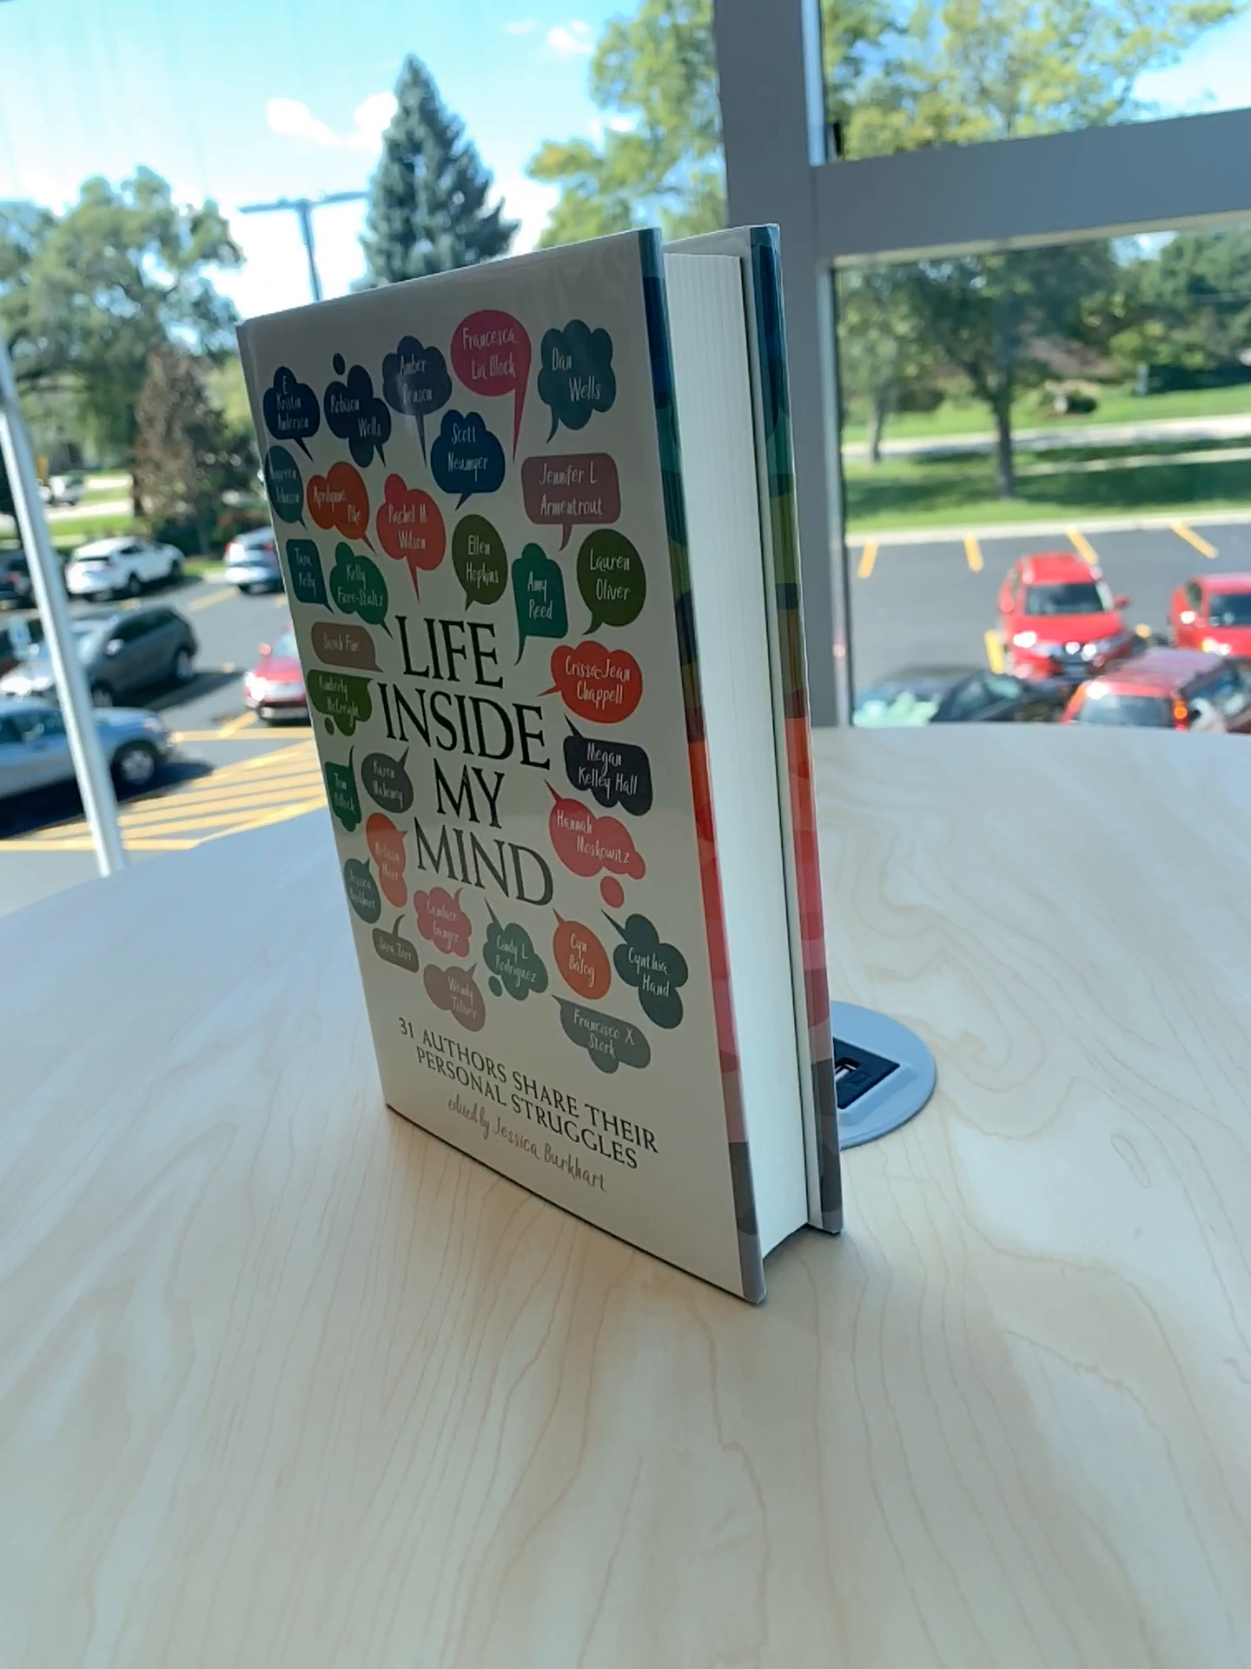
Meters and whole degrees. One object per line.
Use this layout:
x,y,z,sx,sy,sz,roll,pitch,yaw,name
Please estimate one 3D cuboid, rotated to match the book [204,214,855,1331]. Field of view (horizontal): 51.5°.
-0.023,-0.013,0.303,0.150,0.218,0.030,13,28,44,book
